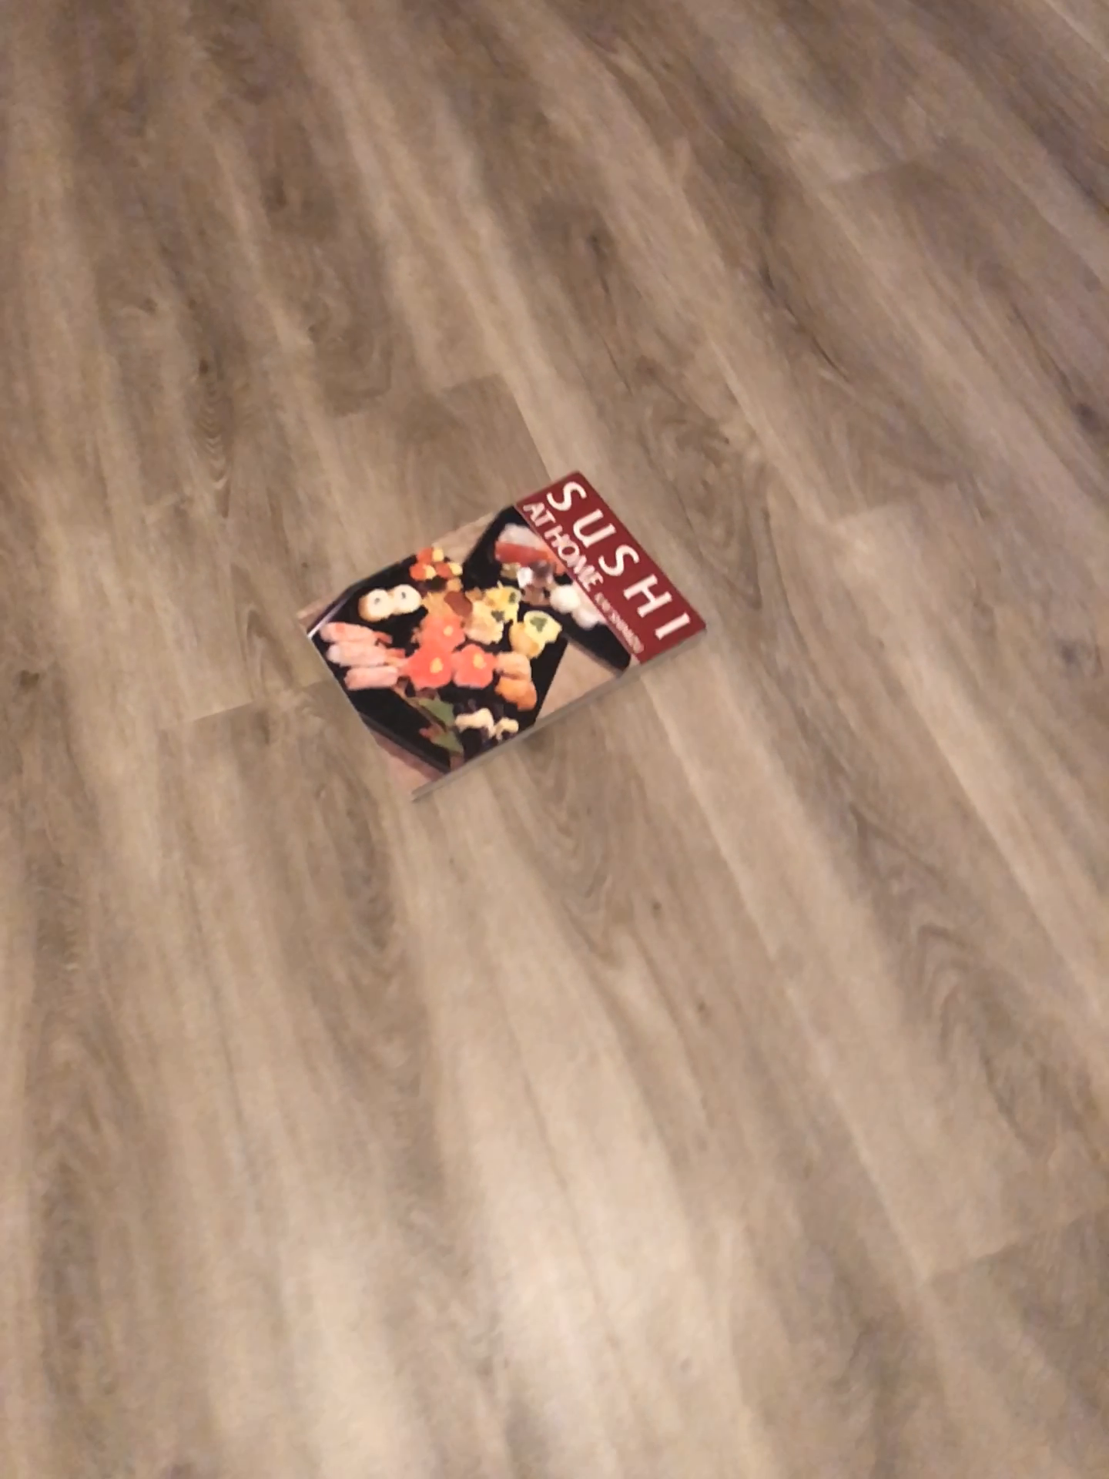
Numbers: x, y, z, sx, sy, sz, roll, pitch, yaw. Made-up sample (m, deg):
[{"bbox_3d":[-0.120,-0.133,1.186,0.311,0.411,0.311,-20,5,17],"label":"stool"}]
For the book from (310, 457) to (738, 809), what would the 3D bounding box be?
[{"bbox_3d":[-0.024,-0.089,0.927,0.258,0.030,0.191,-29,63,-13],"label":"book"}]
